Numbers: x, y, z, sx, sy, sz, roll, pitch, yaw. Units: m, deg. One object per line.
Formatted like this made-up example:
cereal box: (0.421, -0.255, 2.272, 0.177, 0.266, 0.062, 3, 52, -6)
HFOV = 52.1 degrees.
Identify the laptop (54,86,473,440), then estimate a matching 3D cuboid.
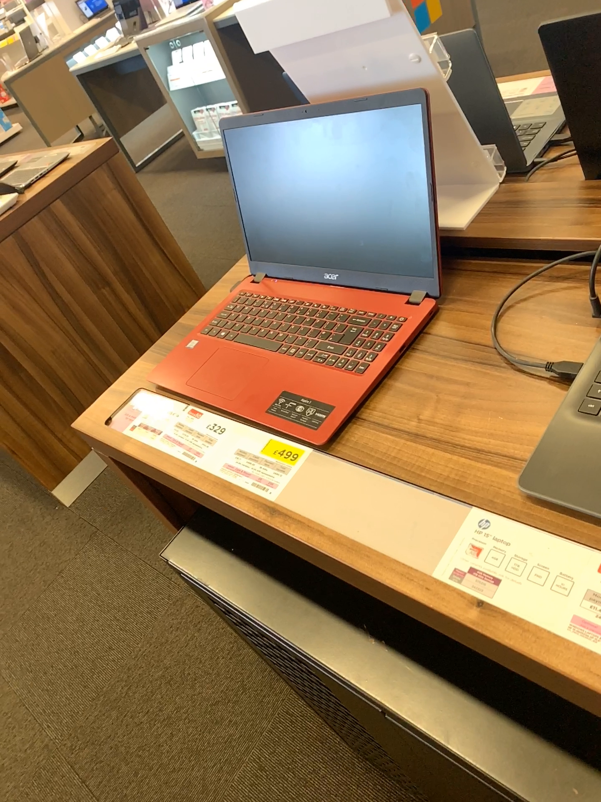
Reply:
laptop: (-0.044, -0.183, 0.770, 0.358, 0.213, 0.322, 17, 58, 43)
